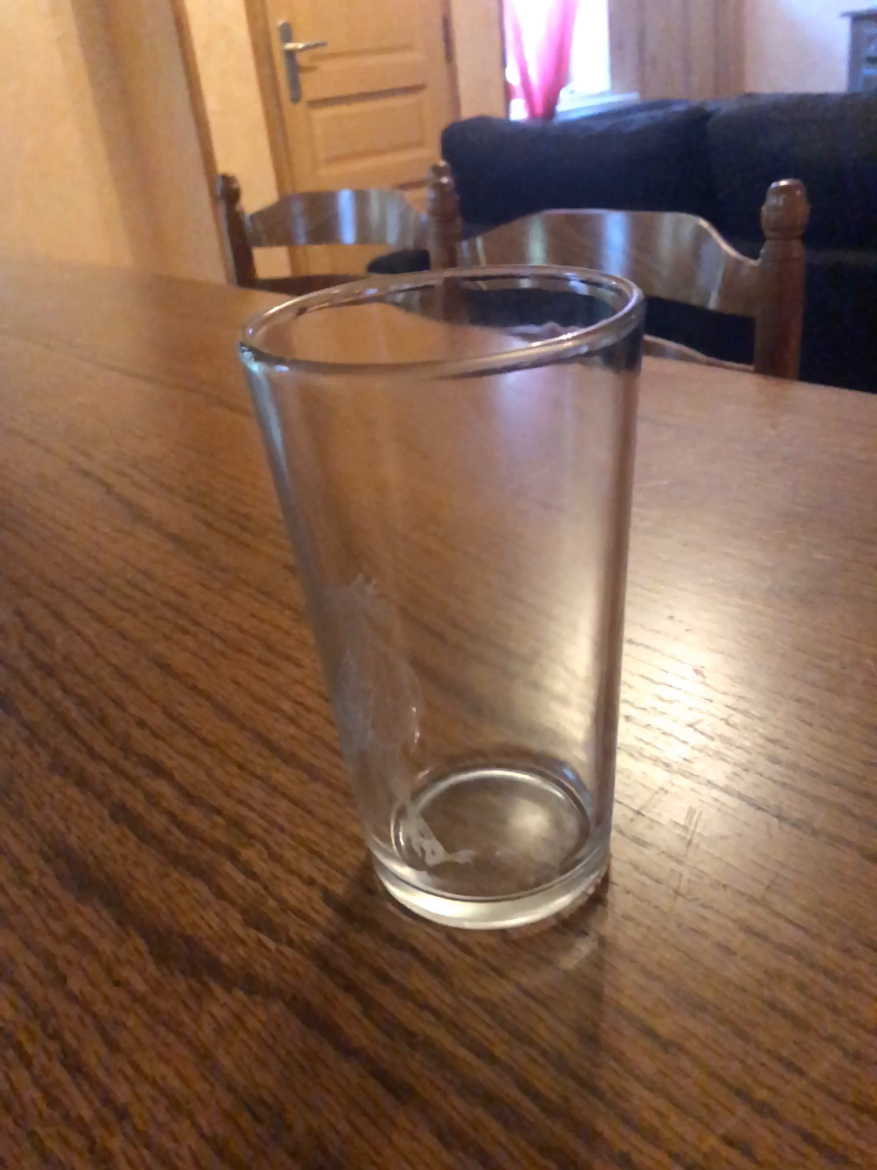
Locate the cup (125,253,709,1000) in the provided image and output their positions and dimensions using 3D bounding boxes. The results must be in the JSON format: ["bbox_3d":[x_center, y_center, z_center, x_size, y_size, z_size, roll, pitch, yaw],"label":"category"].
[{"bbox_3d":[0.004,0.001,0.243,0.091,0.144,0.090,-5,27,3],"label":"cup"}]
